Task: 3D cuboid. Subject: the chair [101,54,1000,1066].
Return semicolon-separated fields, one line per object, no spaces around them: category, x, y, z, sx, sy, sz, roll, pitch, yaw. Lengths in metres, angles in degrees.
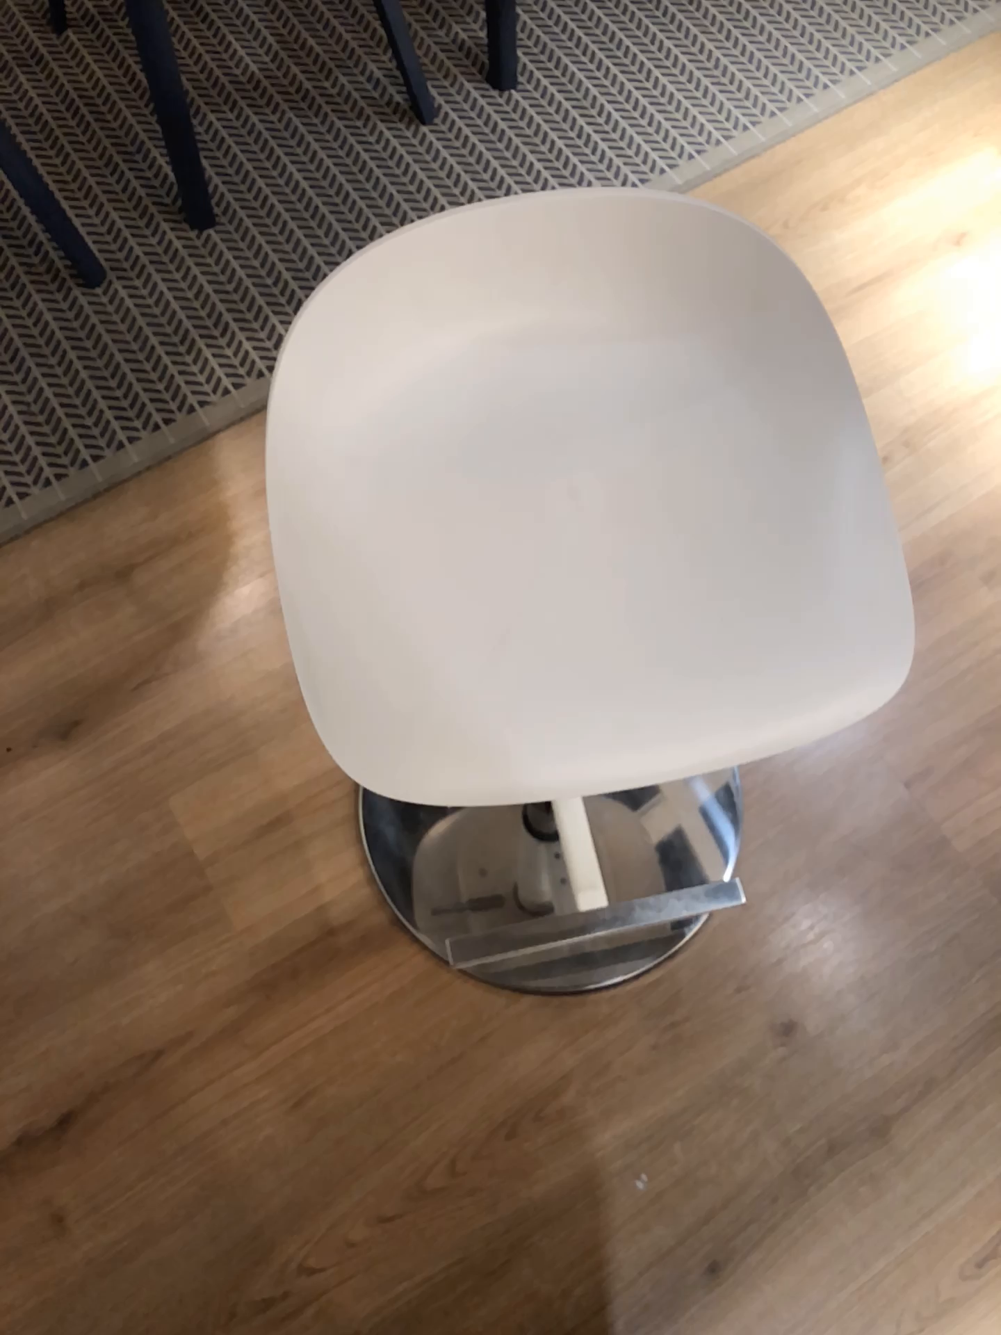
chair;0.039;0.010;0.902;0.440;0.699;0.450;-14;67;-6
